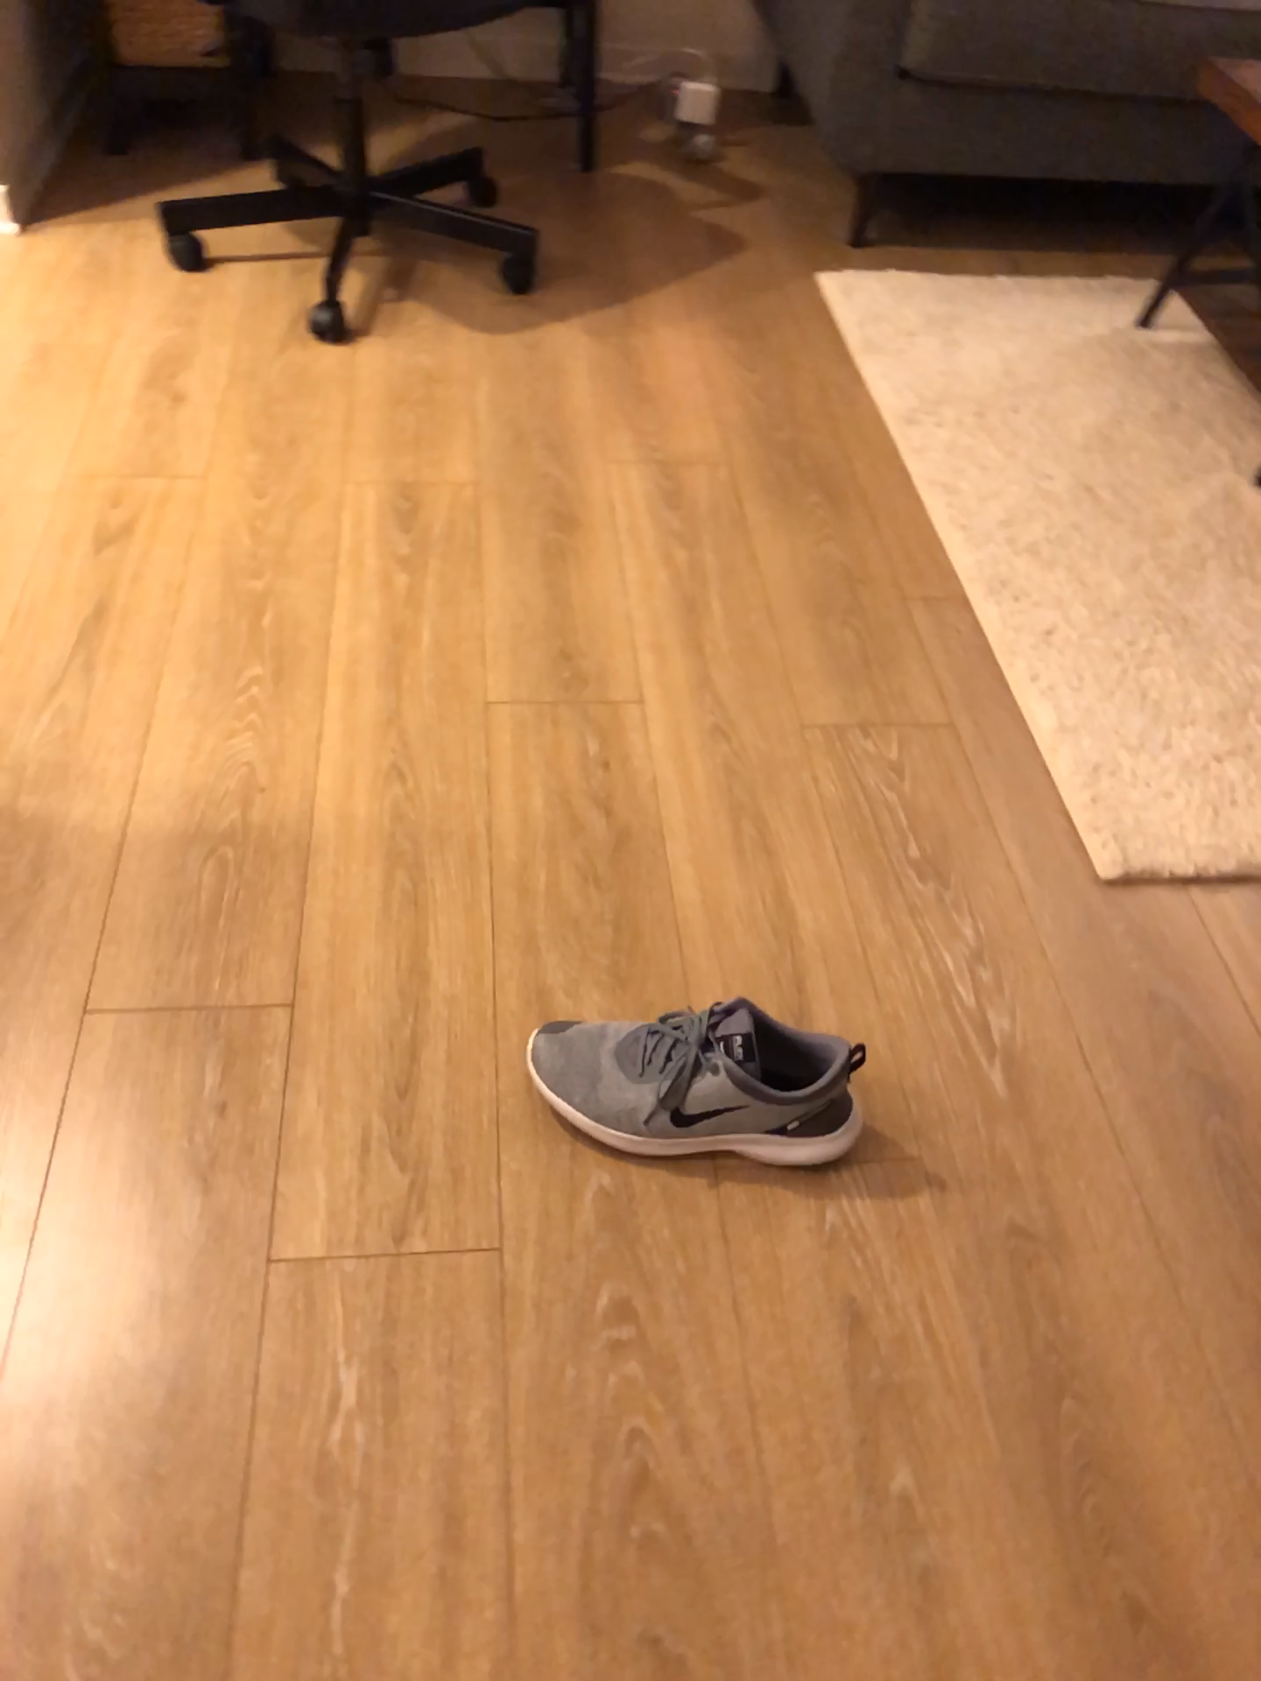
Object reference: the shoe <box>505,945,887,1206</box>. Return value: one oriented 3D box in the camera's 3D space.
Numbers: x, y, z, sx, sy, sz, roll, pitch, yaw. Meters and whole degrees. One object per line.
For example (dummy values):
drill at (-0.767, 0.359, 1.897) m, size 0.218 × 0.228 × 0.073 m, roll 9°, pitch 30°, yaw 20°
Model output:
shoe at (0.057, 0.197, 1.175) m, size 0.300 × 0.090 × 0.141 m, roll 10°, pitch 45°, yaw 4°
